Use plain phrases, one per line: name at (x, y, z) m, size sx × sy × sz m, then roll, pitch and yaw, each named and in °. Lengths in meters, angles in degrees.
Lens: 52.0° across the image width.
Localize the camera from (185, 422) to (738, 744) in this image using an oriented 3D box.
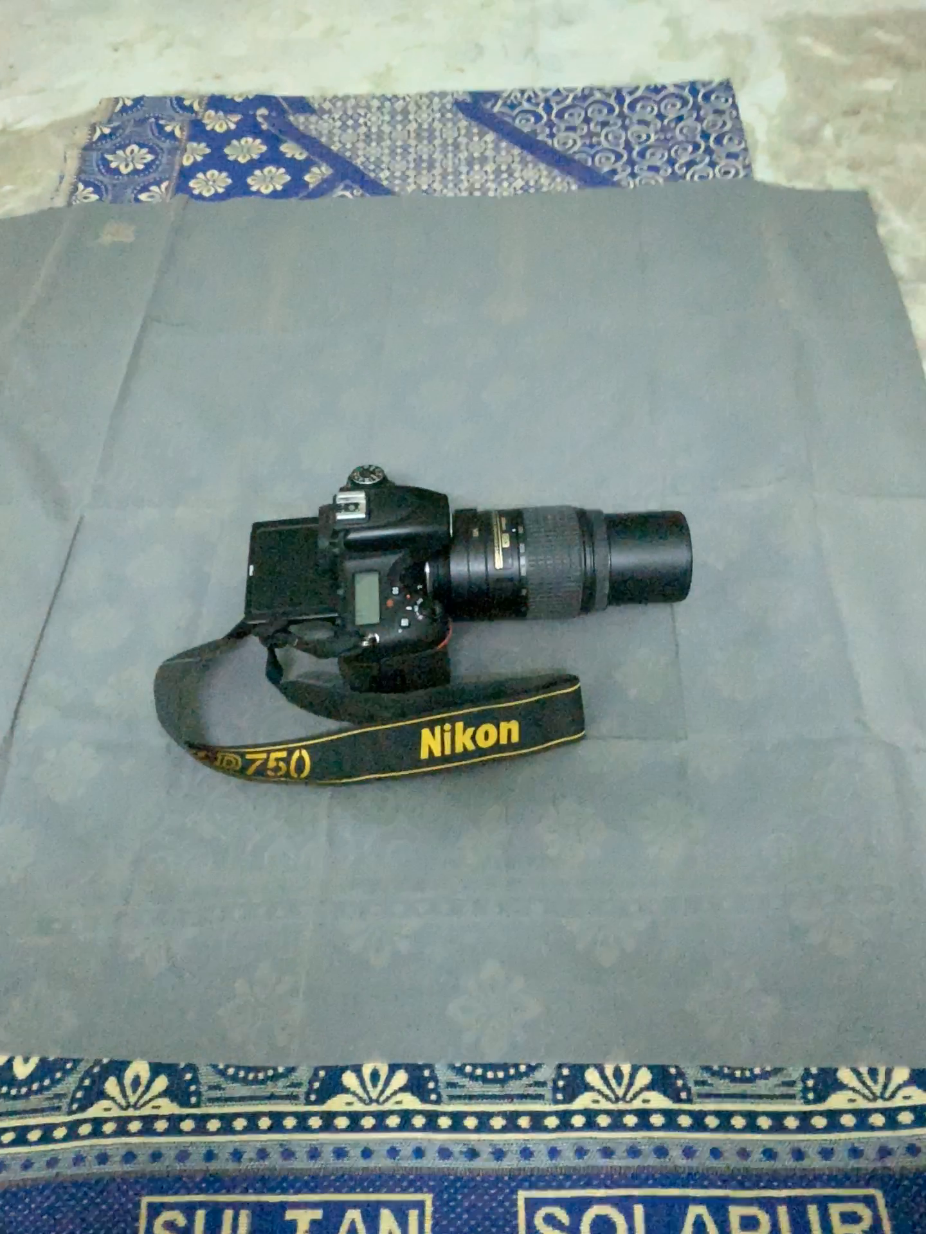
camera at (-0.001, -0.018, 0.579) m, size 0.288 × 0.110 × 0.147 m, roll -3°, pitch 58°, yaw 3°
